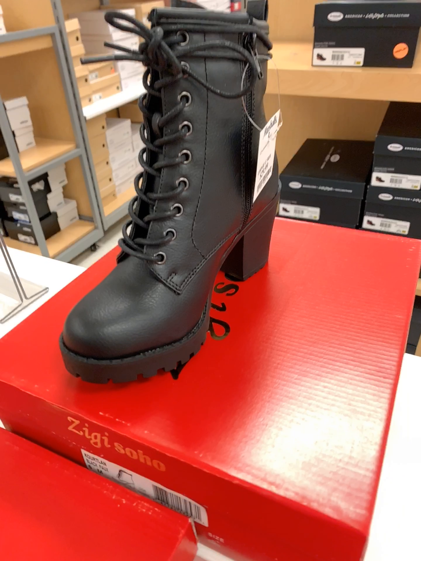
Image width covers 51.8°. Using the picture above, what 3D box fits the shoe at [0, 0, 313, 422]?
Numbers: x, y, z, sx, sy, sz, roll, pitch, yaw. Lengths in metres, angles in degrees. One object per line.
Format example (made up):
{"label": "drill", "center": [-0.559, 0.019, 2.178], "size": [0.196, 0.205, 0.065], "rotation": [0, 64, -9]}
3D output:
{"label": "shoe", "center": [-0.029, -0.063, 0.284], "size": [0.092, 0.203, 0.201], "rotation": [21, 42, 31]}
